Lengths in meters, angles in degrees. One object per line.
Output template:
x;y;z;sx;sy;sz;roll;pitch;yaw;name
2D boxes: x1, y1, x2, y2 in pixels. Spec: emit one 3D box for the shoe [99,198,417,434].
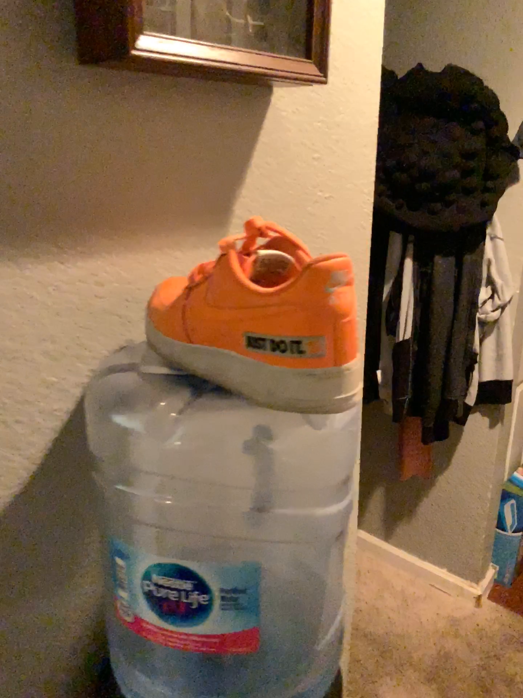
-0.024;-0.056;0.533;0.120;0.140;0.300;-15;23;-36;shoe
